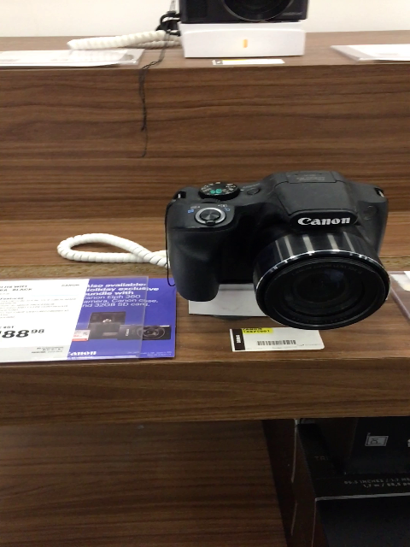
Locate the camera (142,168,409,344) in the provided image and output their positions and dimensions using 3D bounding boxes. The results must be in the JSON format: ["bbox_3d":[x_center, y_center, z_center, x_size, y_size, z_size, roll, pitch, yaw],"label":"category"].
[{"bbox_3d":[0.041,-0.012,0.317,0.139,0.075,0.086,-1,33,2],"label":"camera"}]
